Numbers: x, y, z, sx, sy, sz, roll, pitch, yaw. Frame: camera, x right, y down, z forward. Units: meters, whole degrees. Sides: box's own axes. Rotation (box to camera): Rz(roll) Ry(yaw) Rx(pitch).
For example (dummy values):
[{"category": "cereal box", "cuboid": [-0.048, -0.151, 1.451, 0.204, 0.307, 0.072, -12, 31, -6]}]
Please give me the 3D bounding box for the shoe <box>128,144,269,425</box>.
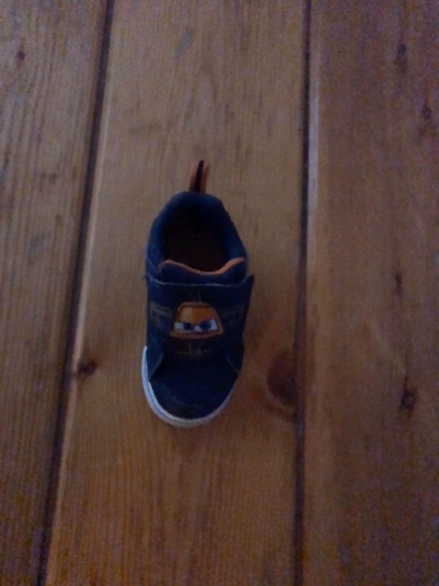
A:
[{"category": "shoe", "cuboid": [-0.015, -0.001, 0.316, 0.070, 0.070, 0.160, 6, 76, -9]}]
